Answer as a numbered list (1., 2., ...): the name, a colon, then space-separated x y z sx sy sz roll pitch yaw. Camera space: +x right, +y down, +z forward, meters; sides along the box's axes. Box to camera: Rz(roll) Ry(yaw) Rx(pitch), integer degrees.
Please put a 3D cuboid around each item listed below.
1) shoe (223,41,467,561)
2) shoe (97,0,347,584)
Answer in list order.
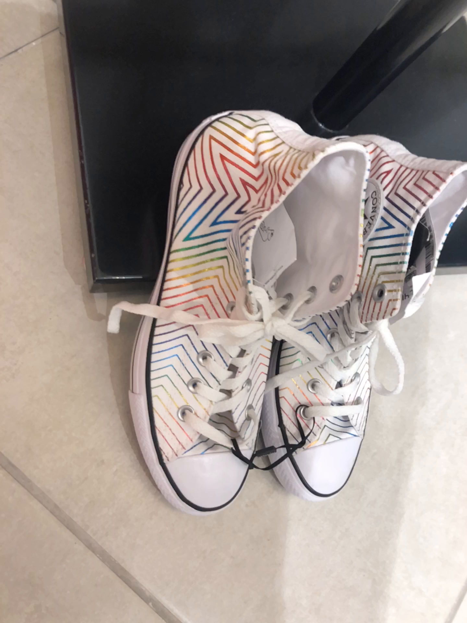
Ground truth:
1. shoe: 0.079 -0.007 0.387 0.120 0.139 0.300 -1 88 -24
2. shoe: -0.020 -0.011 0.352 0.120 0.140 0.300 -1 95 -24
